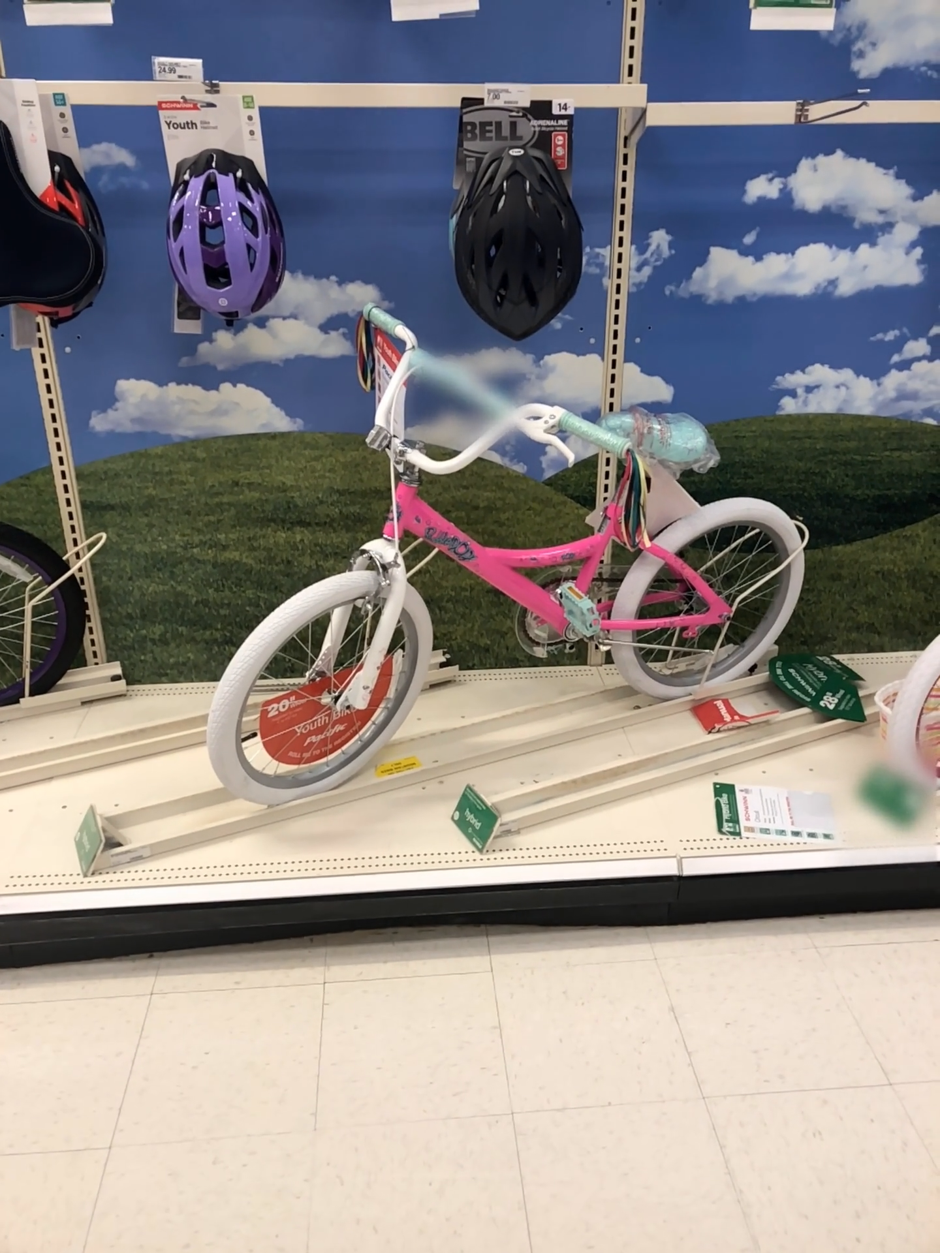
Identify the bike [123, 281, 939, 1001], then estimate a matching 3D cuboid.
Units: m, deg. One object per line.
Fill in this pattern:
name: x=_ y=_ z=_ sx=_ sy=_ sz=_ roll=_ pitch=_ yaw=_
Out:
bike: x=0.147 y=-0.100 z=2.002 sx=1.347 sy=0.882 sz=0.730 roll=-14 pitch=28 yaw=-23
